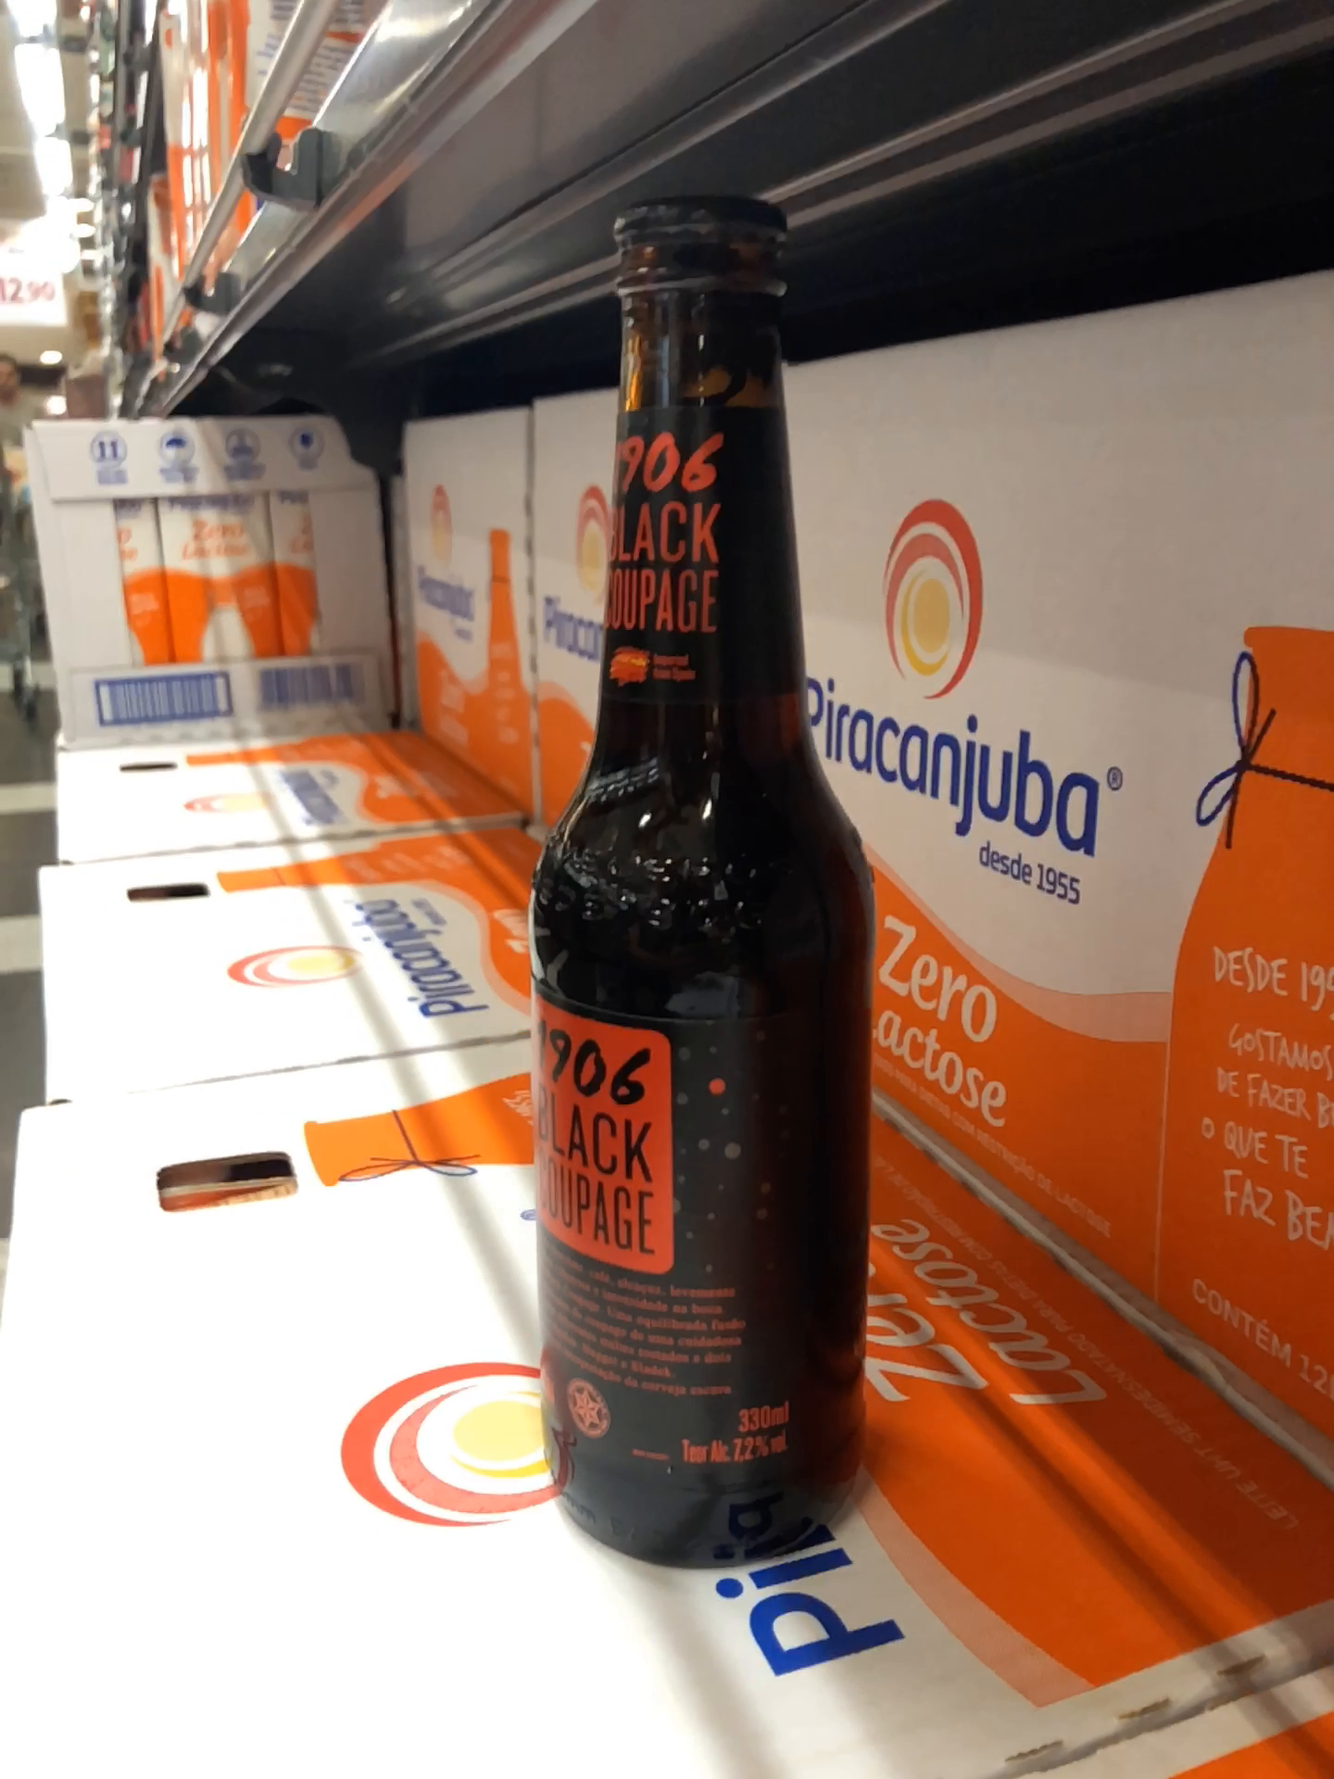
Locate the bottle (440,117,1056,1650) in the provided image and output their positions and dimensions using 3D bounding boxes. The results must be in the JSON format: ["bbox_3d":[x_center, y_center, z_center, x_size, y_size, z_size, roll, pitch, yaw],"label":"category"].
[{"bbox_3d":[0.013,0.001,0.249,0.070,0.219,0.060,12,19,39],"label":"bottle"}]
